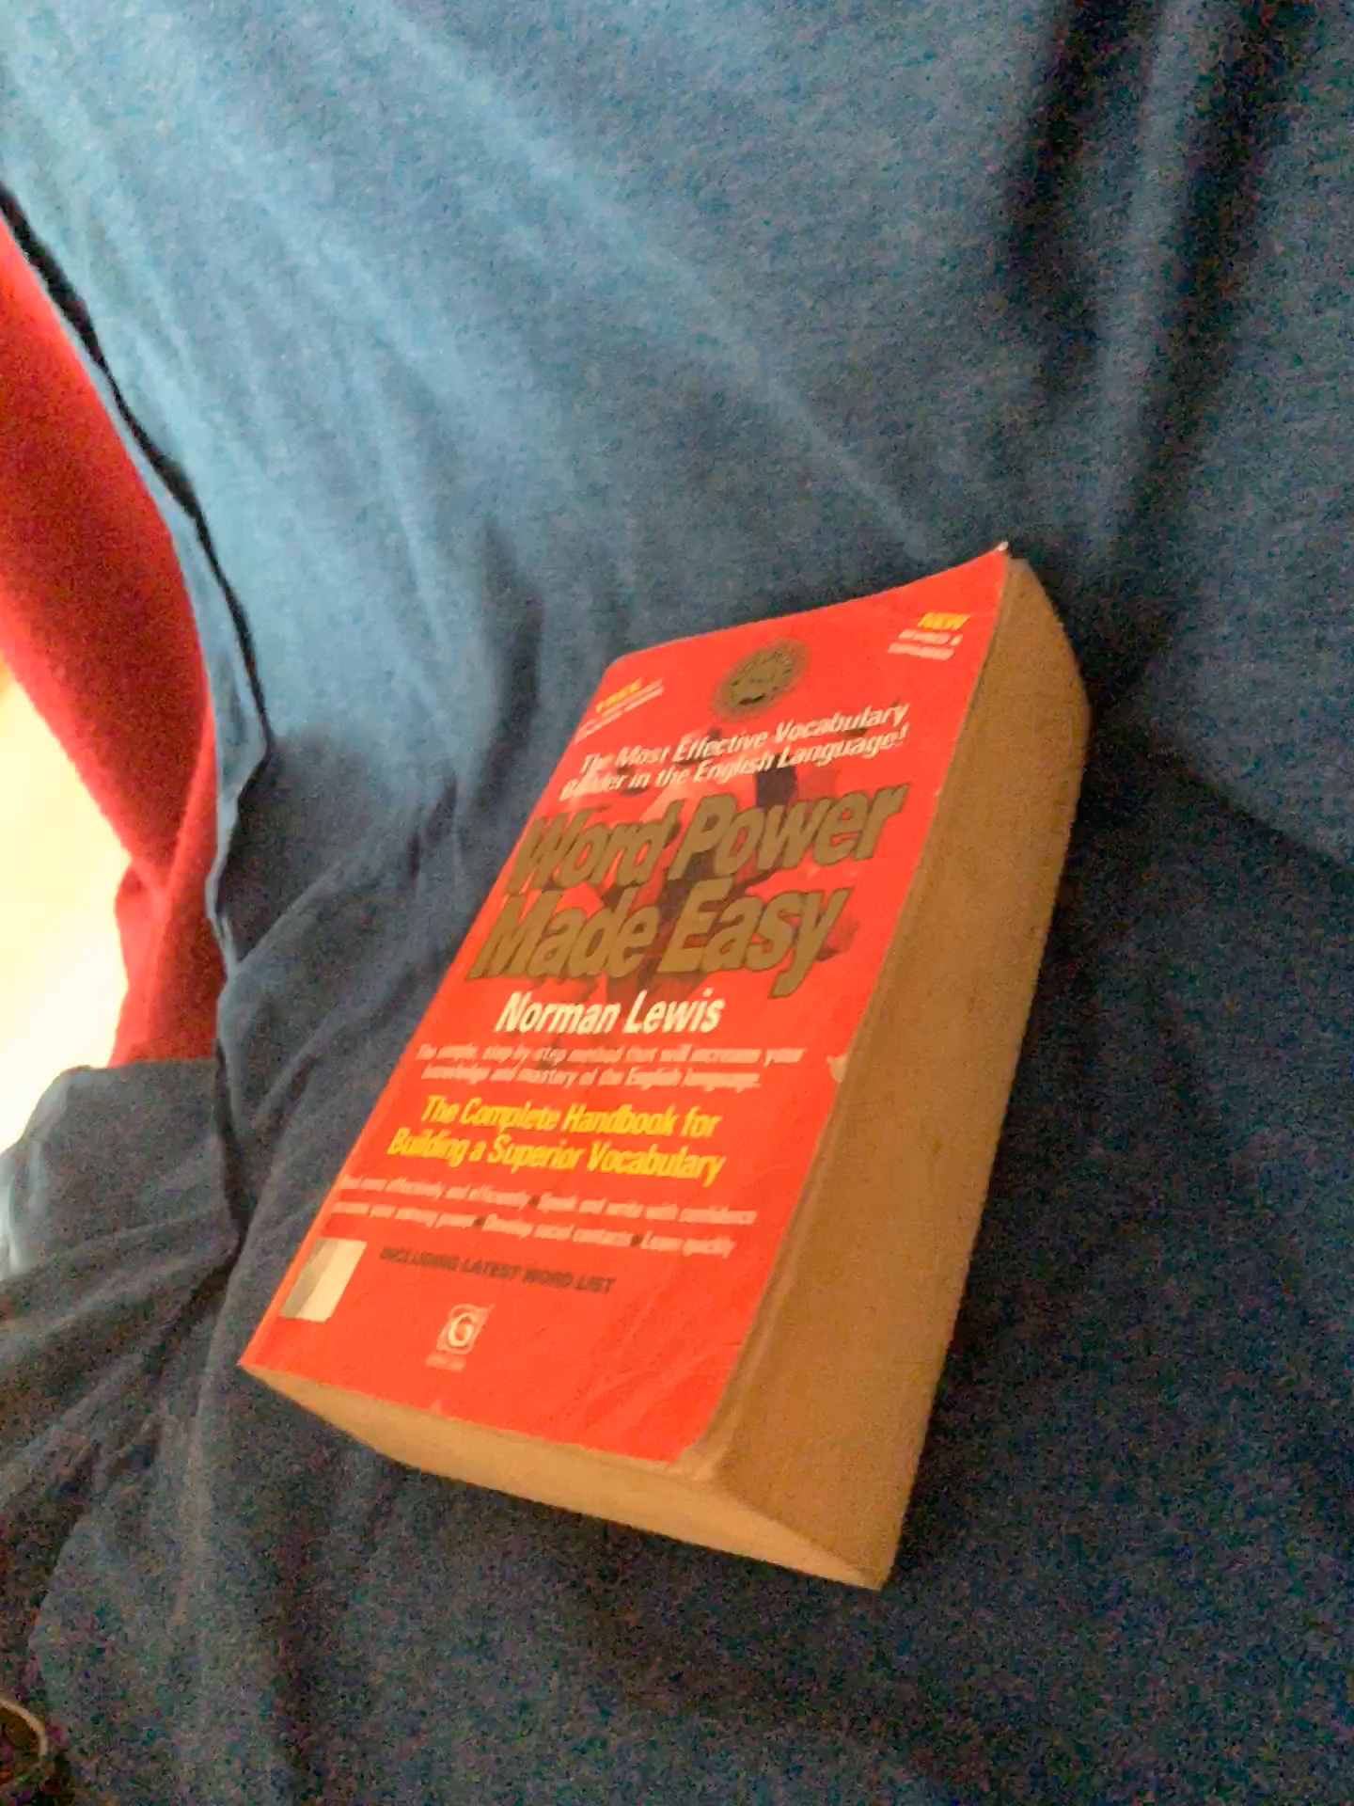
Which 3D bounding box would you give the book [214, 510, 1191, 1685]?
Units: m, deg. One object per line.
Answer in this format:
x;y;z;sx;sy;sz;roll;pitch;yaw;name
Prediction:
0.012;0.021;0.267;0.121;0.050;0.191;-3;51;40;book
